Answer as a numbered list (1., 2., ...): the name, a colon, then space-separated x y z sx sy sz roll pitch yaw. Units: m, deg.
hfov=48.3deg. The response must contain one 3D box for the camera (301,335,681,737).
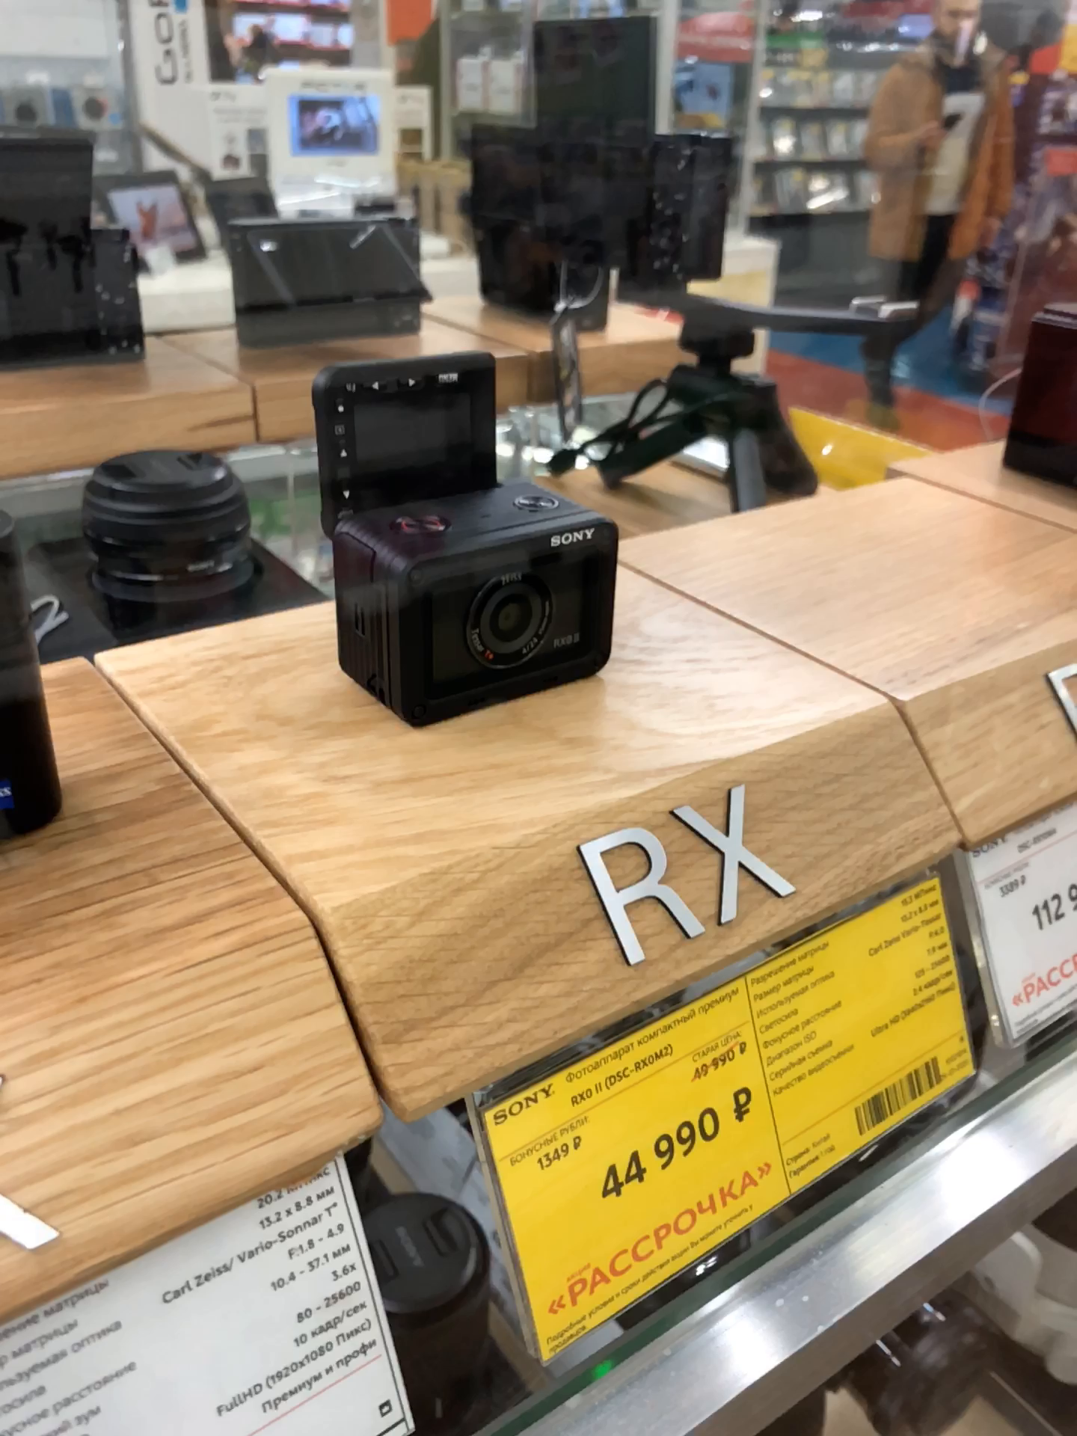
1. camera: -0.011 -0.044 0.267 0.063 0.067 0.050 -17 34 -32

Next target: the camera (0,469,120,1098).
1. camera: -0.133 0.004 0.201 0.105 0.067 0.041 -17 34 -32
